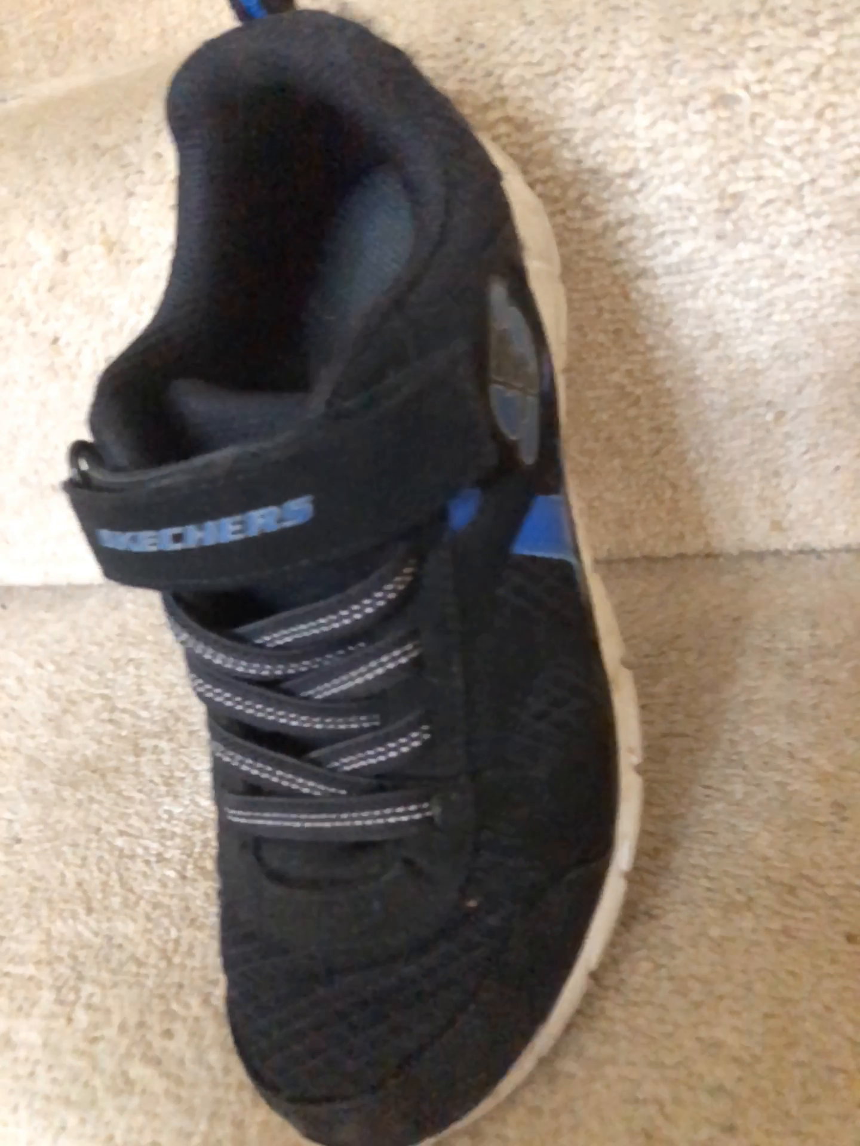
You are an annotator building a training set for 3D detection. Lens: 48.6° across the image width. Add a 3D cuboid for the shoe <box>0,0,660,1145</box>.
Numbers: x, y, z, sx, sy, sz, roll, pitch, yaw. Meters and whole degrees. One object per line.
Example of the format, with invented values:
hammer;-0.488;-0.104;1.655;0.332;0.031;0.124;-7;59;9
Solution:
shoe;-0.021;-0.004;0.195;0.090;0.220;0.100;-6;-6;32
